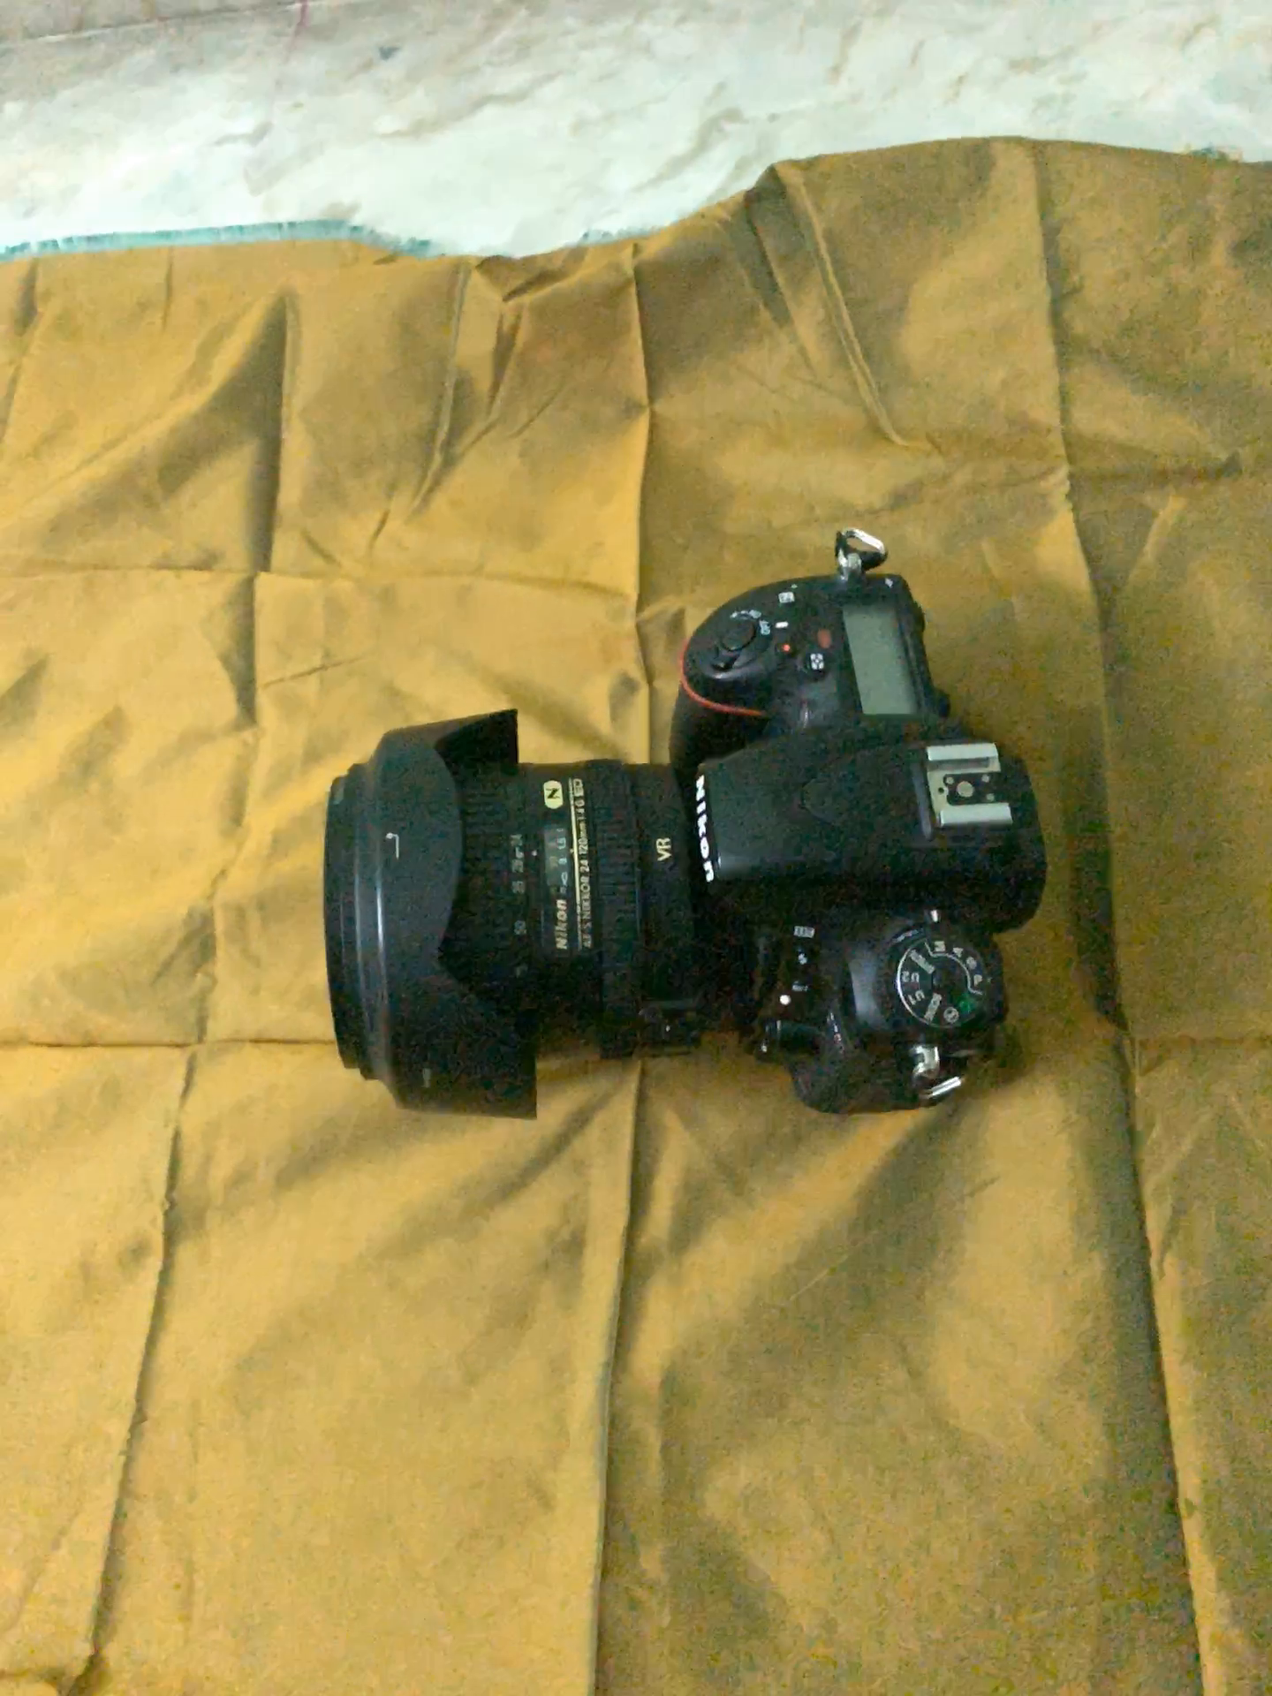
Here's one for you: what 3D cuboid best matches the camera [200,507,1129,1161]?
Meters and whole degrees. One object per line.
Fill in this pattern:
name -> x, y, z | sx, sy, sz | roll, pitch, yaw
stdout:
camera -> 0.003, 0.000, 0.344 | 0.192, 0.100, 0.140 | -1, 67, -2
